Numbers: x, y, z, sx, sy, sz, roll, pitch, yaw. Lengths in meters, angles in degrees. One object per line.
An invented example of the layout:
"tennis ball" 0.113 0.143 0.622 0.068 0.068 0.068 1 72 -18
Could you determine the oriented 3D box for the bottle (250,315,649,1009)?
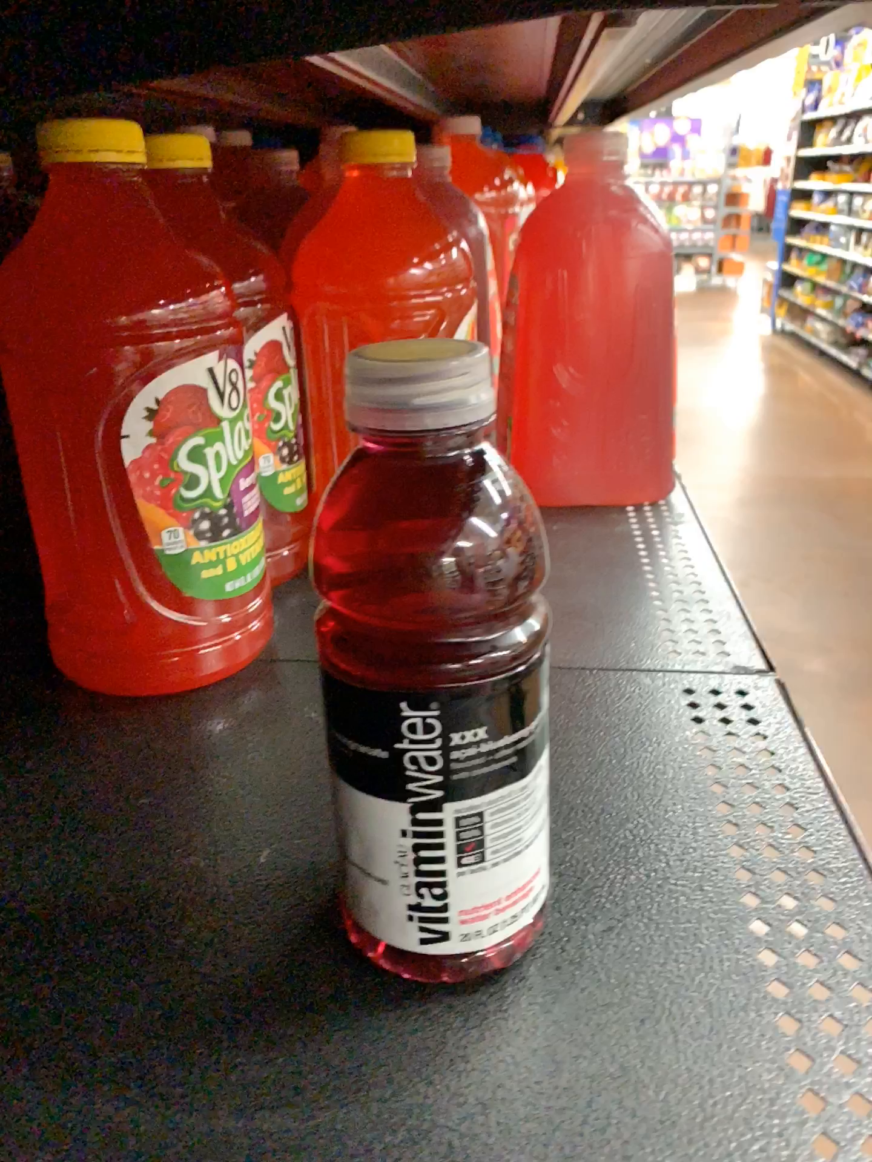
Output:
"bottle" 0.000 0.020 0.271 0.080 0.179 0.080 -1 24 0
